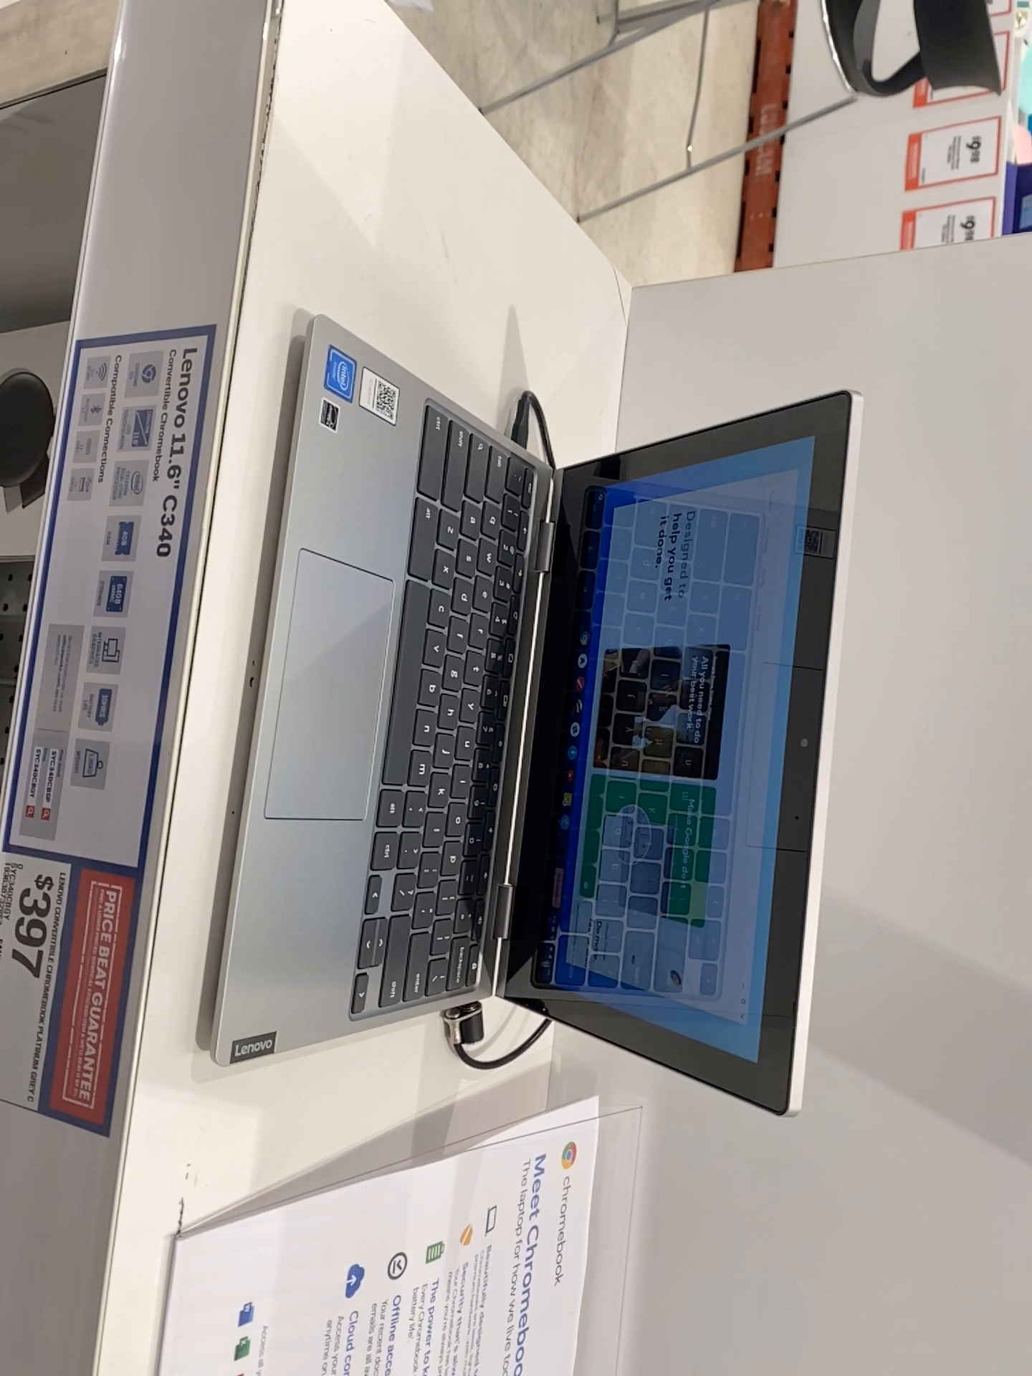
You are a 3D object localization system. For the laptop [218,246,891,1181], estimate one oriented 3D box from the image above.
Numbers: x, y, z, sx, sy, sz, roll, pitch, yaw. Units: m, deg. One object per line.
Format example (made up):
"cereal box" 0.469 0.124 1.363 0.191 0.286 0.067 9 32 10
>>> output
"laptop" 0.034 0.010 0.448 0.202 0.180 0.283 15 80 -59
